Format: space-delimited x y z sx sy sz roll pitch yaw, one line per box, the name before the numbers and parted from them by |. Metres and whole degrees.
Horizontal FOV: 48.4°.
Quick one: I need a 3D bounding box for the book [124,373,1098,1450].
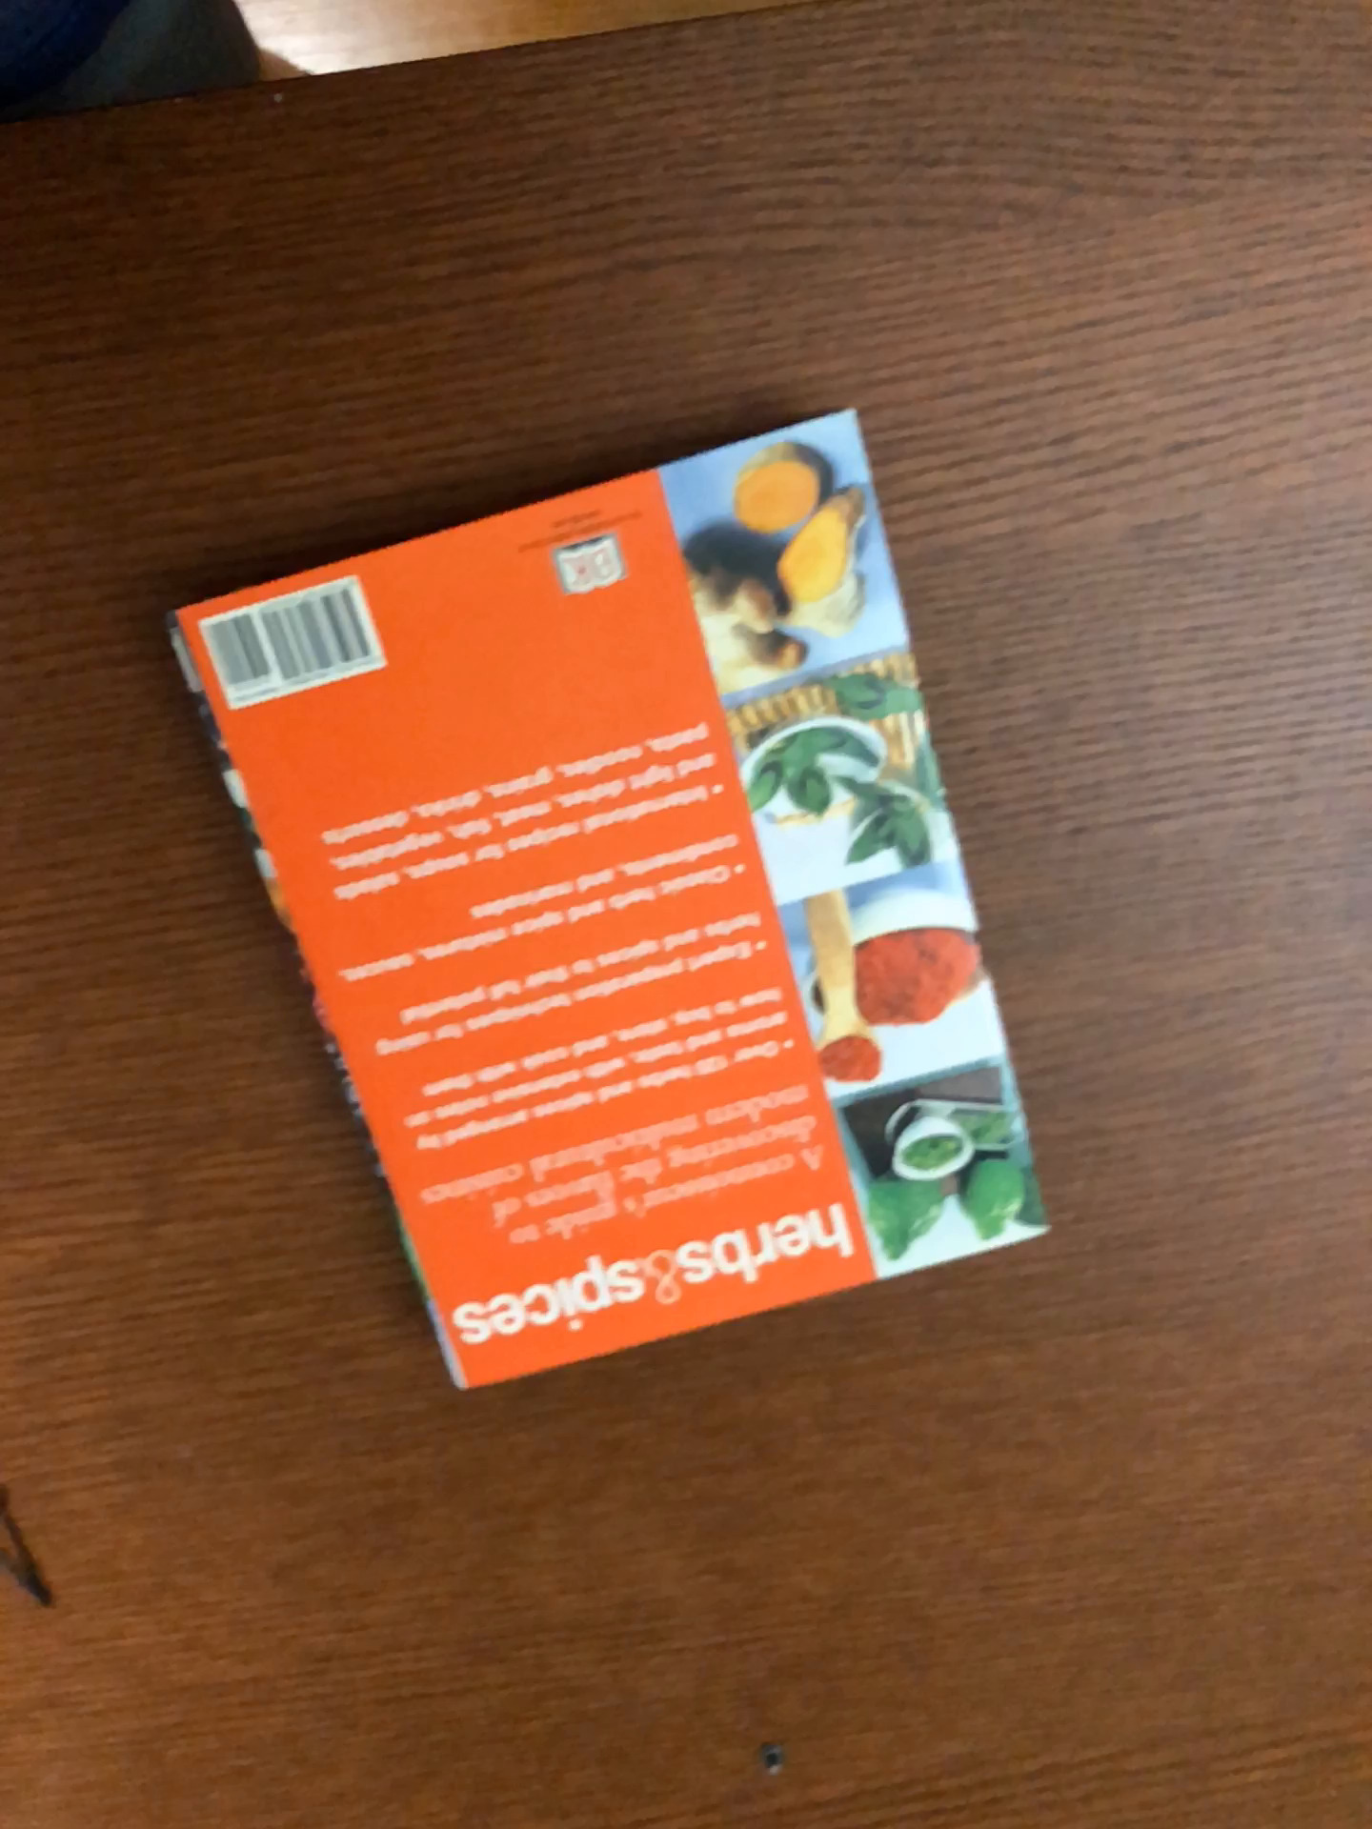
book | -0.011 0.008 0.448 0.210 0.040 0.270 -14 107 2
